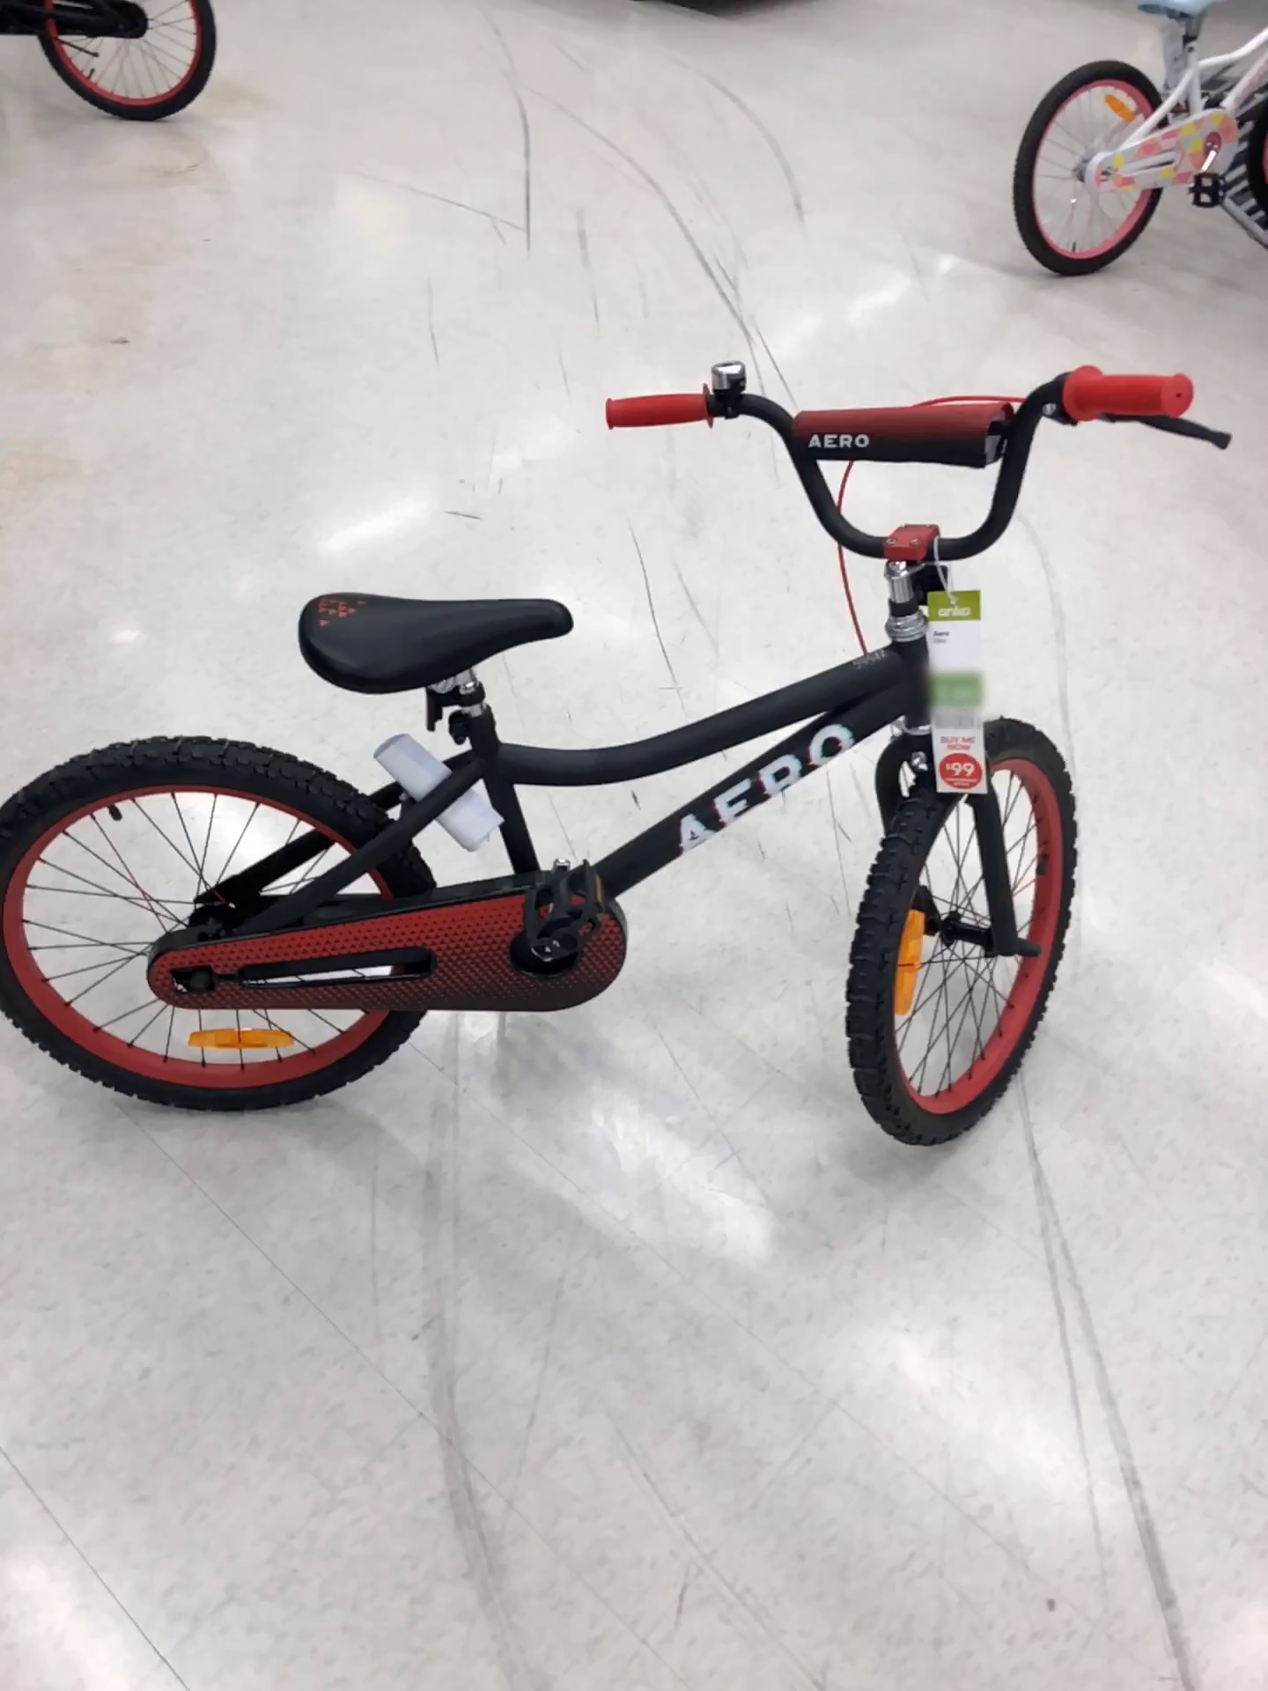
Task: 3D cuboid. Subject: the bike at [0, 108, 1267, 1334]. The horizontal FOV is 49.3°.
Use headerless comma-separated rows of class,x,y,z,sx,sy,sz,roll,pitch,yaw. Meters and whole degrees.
bike,-0.049,-0.135,1.405,1.247,0.924,0.628,-5,45,-13
